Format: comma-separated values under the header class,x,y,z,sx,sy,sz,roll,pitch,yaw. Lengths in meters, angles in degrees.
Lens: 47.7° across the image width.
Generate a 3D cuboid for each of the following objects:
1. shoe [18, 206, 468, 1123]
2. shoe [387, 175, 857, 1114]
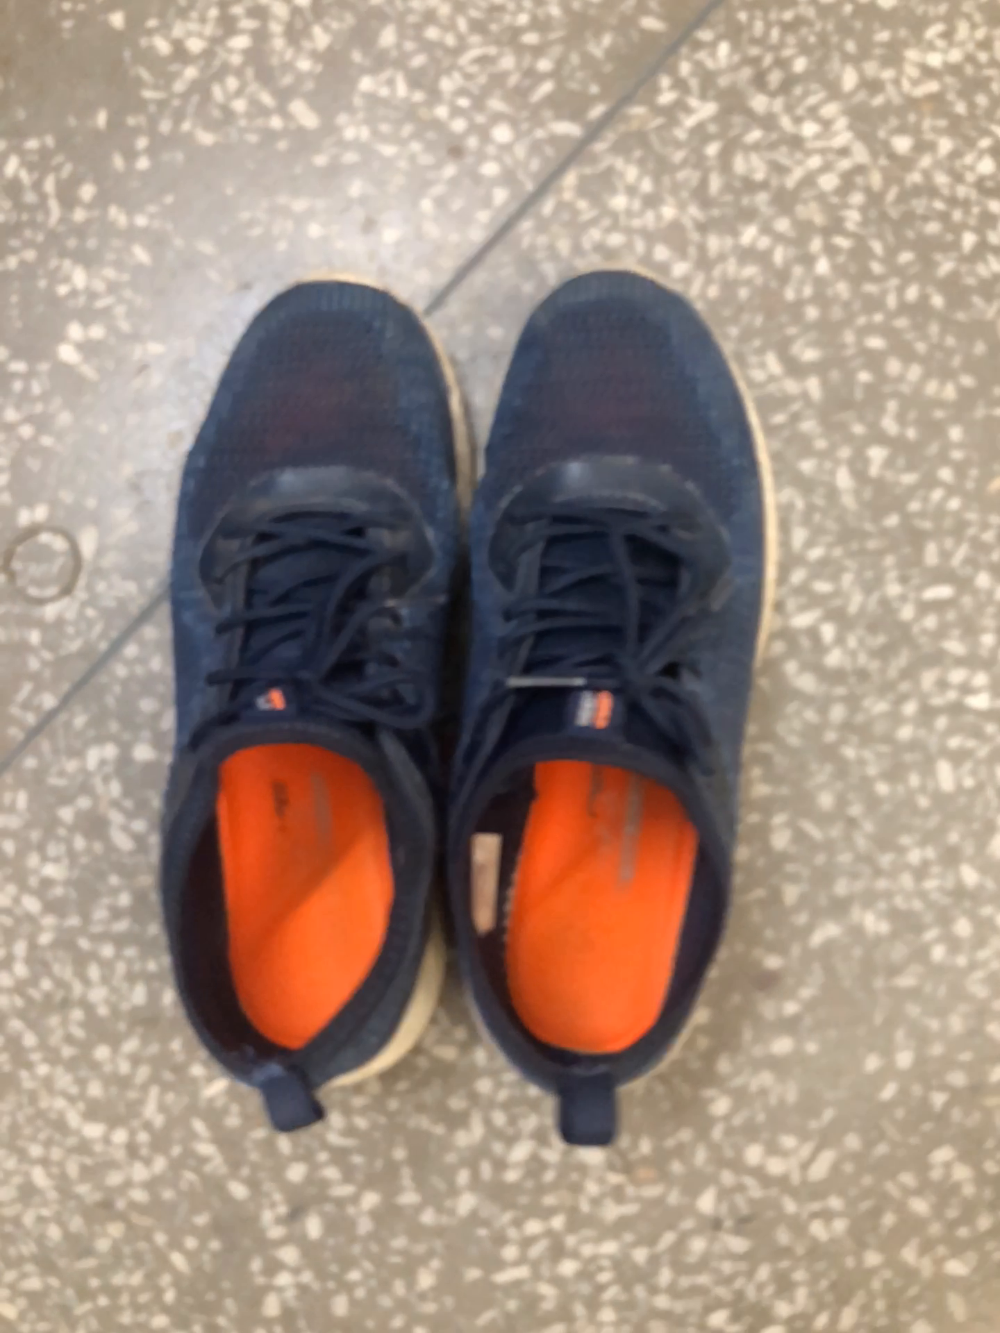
class,x,y,z,sx,sy,sz,roll,pitch,yaw
shoe,-0.073,0.001,0.361,0.113,0.100,0.249,-1,89,4
shoe,0.036,-0.006,0.354,0.123,0.100,0.249,1,89,4
